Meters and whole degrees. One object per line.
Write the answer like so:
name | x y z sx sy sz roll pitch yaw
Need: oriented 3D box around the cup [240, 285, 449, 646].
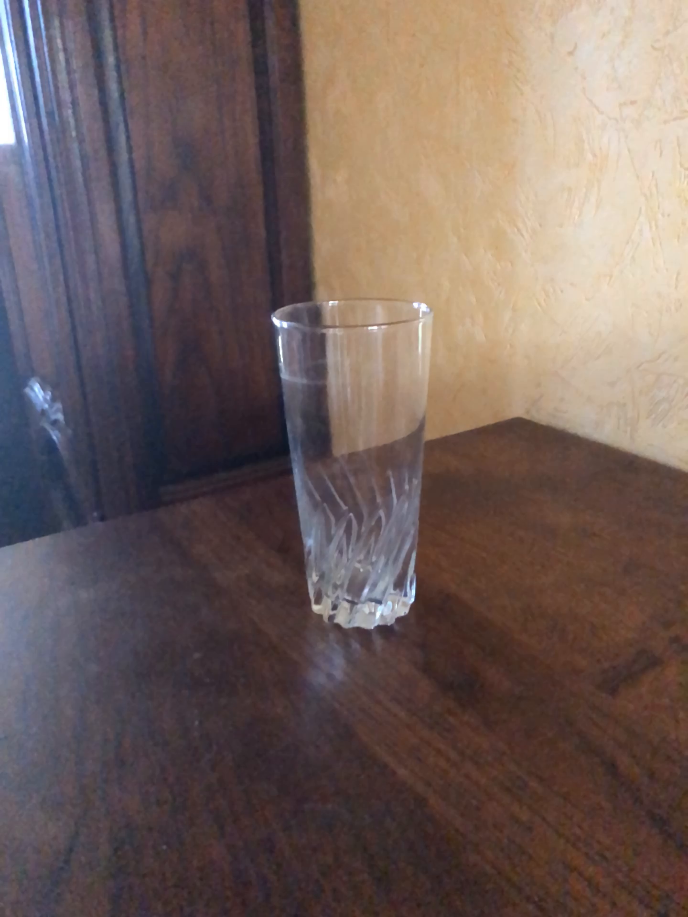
cup | 0.006 -0.001 0.360 0.070 0.149 0.070 -2 19 1
